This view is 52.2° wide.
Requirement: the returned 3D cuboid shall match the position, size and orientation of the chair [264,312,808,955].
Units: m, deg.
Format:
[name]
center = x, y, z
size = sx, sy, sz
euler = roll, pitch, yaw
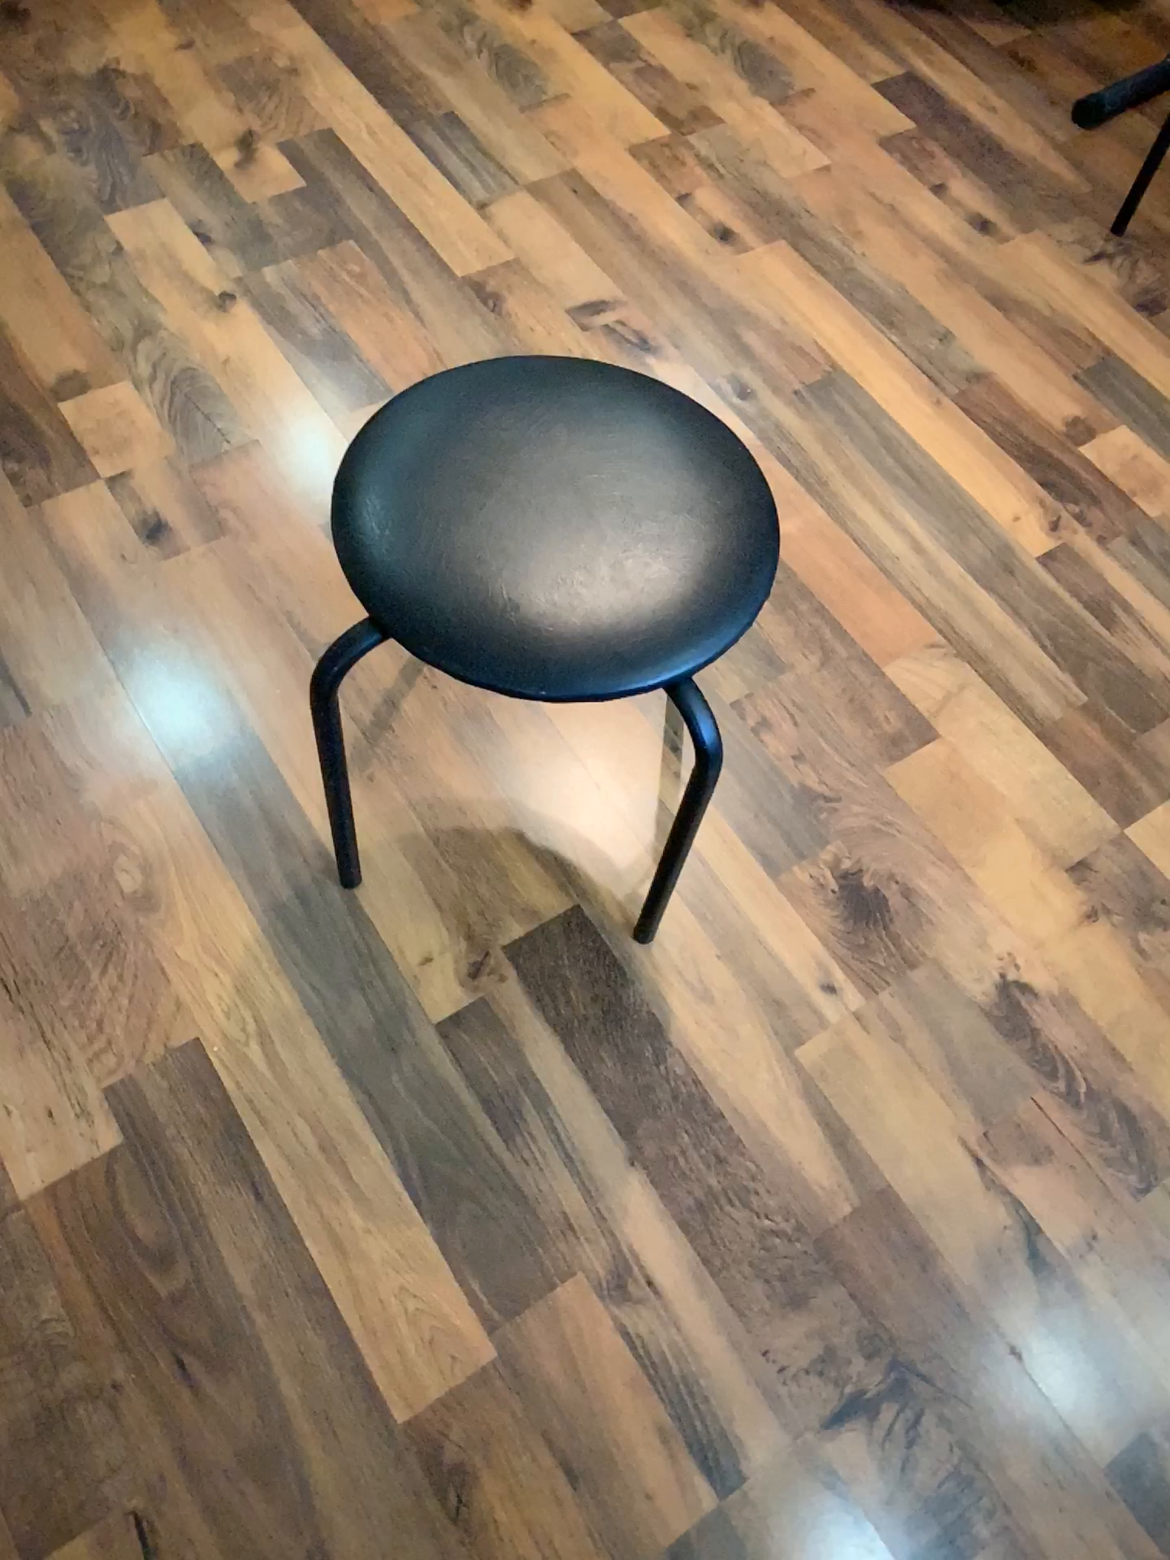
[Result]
[chair]
center = -0.033, -0.104, 1.071
size = 0.350, 0.427, 0.332
euler = 10, 60, 1
